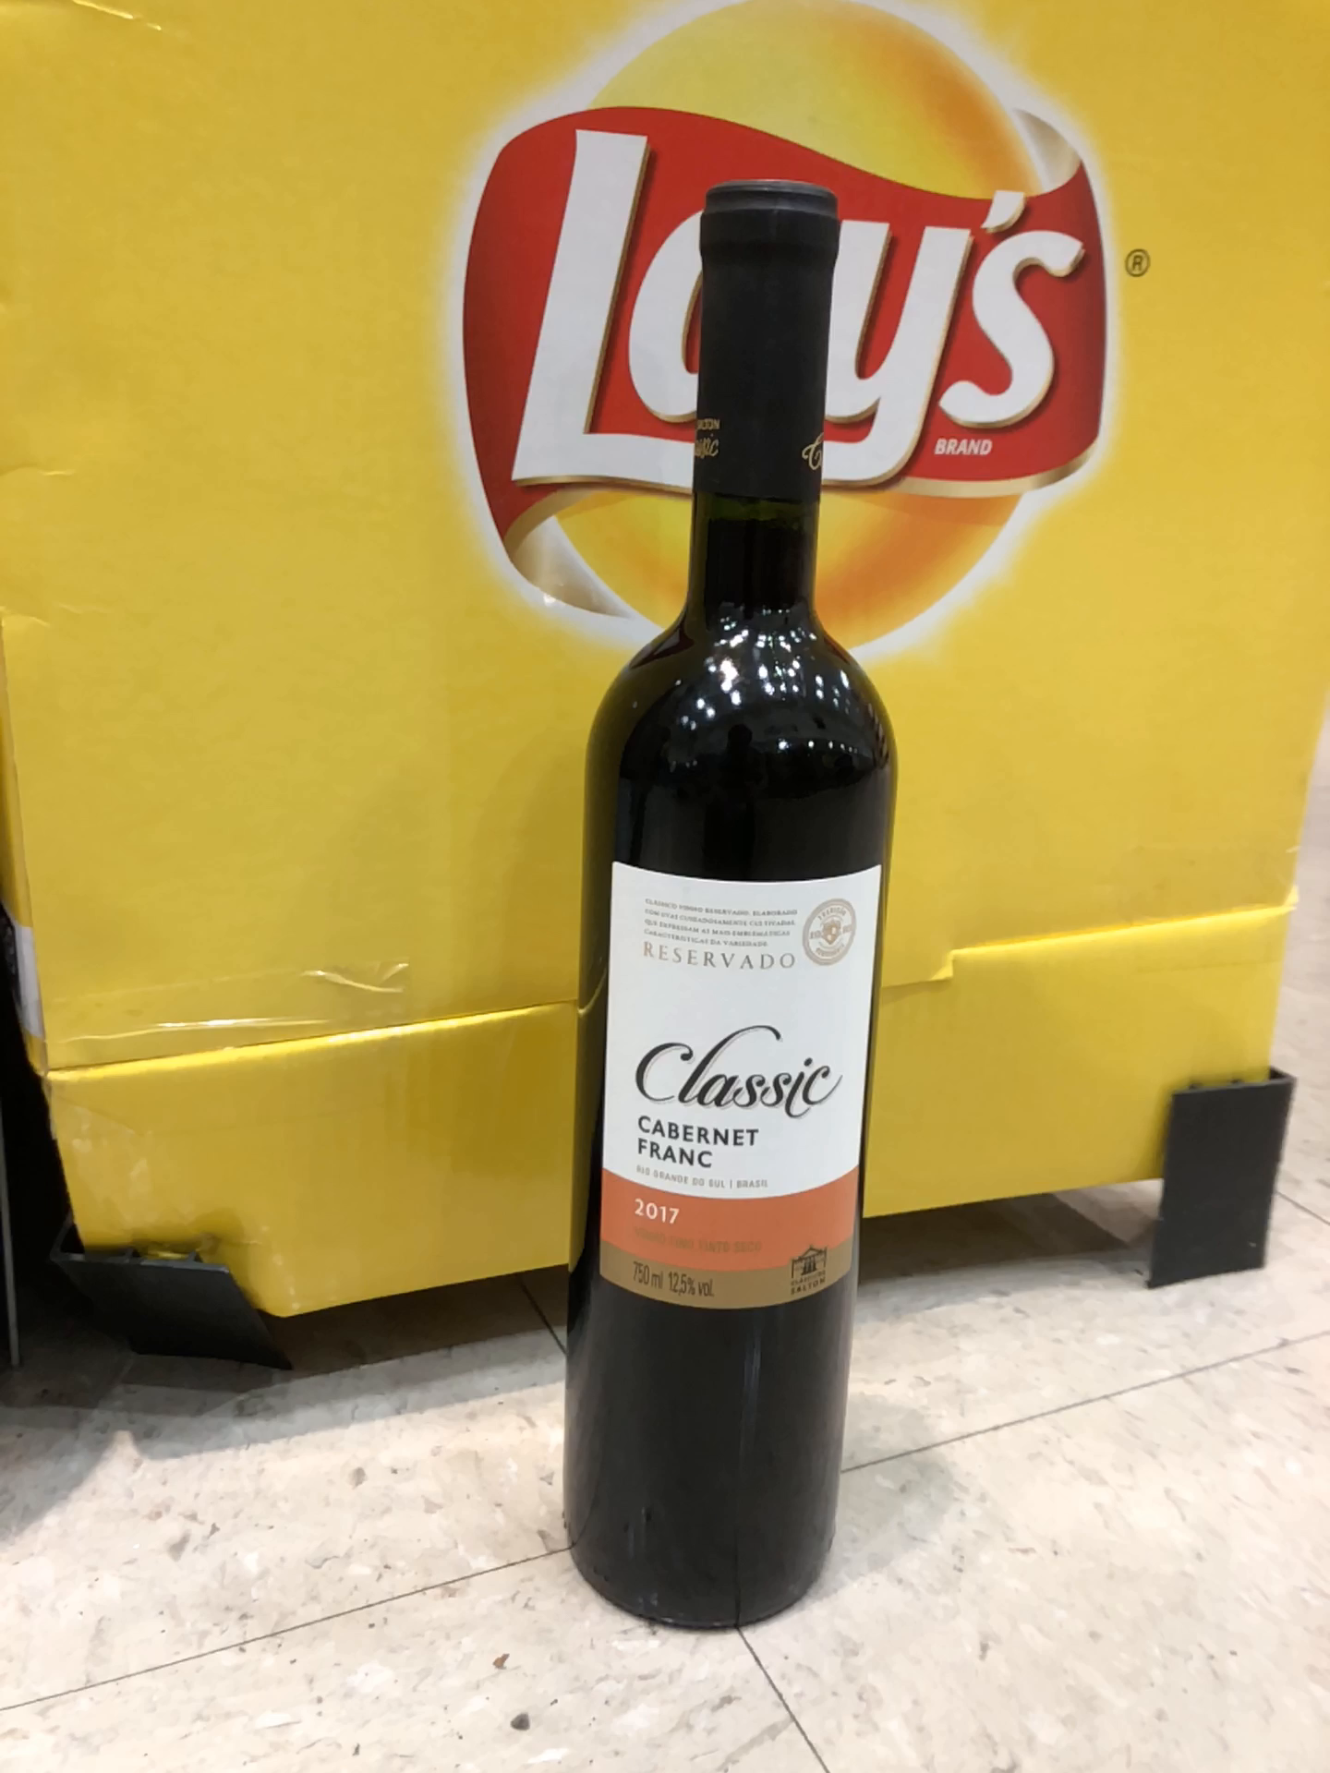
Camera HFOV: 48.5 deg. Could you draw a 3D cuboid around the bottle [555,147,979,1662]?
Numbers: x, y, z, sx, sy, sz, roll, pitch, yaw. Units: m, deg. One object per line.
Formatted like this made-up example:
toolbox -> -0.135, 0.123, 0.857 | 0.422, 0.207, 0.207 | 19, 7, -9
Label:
bottle -> 0.015, 0.017, 0.328 | 0.070, 0.318, 0.060 | 2, 16, 0
